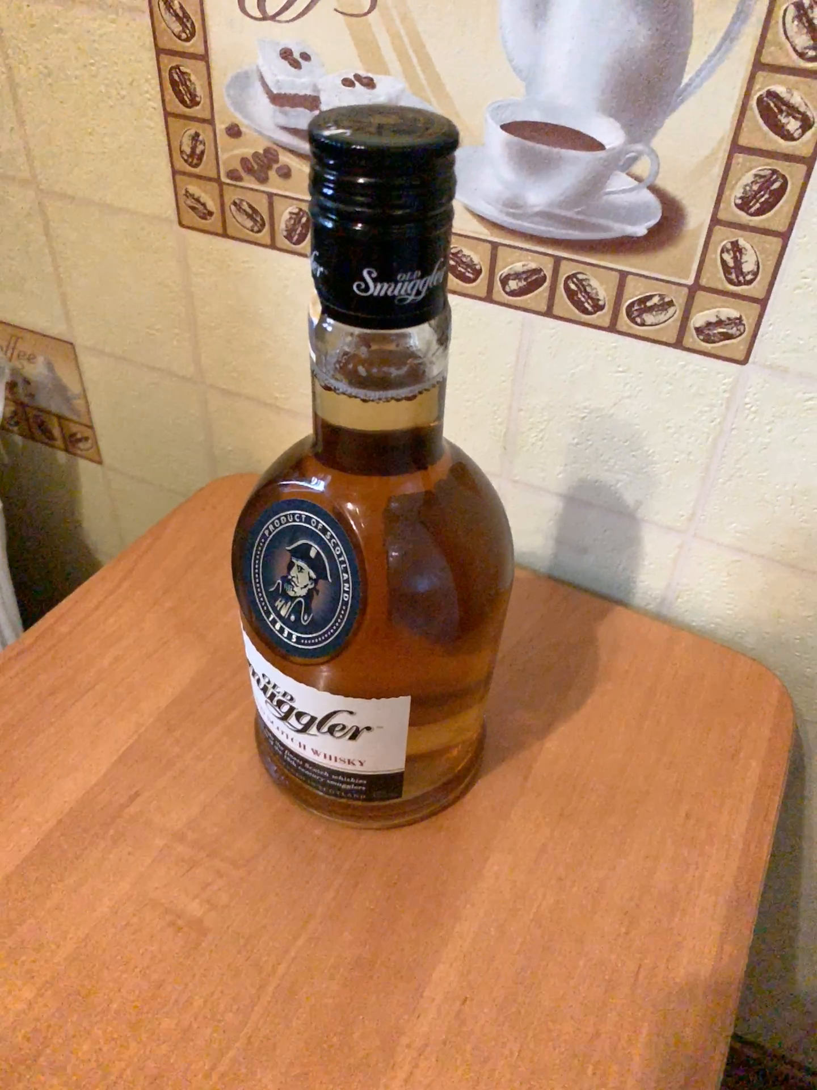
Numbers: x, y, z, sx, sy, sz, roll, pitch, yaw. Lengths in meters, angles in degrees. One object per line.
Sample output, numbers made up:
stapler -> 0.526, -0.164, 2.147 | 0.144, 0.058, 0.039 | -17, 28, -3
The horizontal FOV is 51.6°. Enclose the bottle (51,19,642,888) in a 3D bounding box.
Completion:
bottle -> -0.019, -0.015, 0.256 | 0.100, 0.229, 0.080 | 32, 48, 29
